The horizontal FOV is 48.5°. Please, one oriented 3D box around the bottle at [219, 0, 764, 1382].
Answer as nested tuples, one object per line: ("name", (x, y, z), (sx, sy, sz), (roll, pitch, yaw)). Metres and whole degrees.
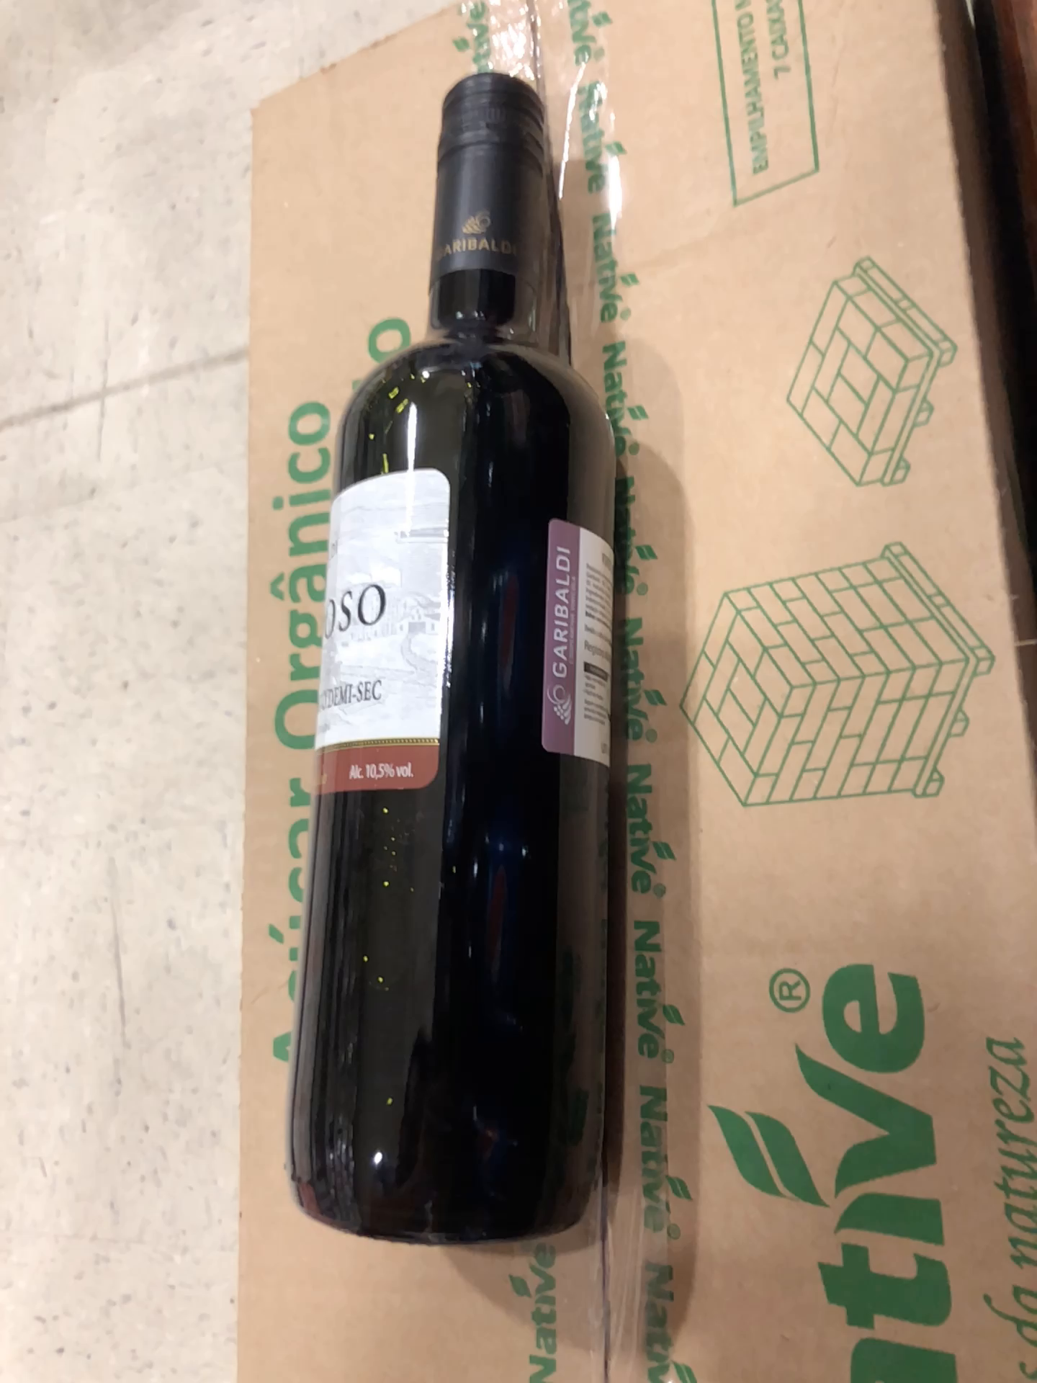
("bottle", (0.005, -0.037, 0.286), (0.090, 0.080, 0.340), (-2, 77, 25))
